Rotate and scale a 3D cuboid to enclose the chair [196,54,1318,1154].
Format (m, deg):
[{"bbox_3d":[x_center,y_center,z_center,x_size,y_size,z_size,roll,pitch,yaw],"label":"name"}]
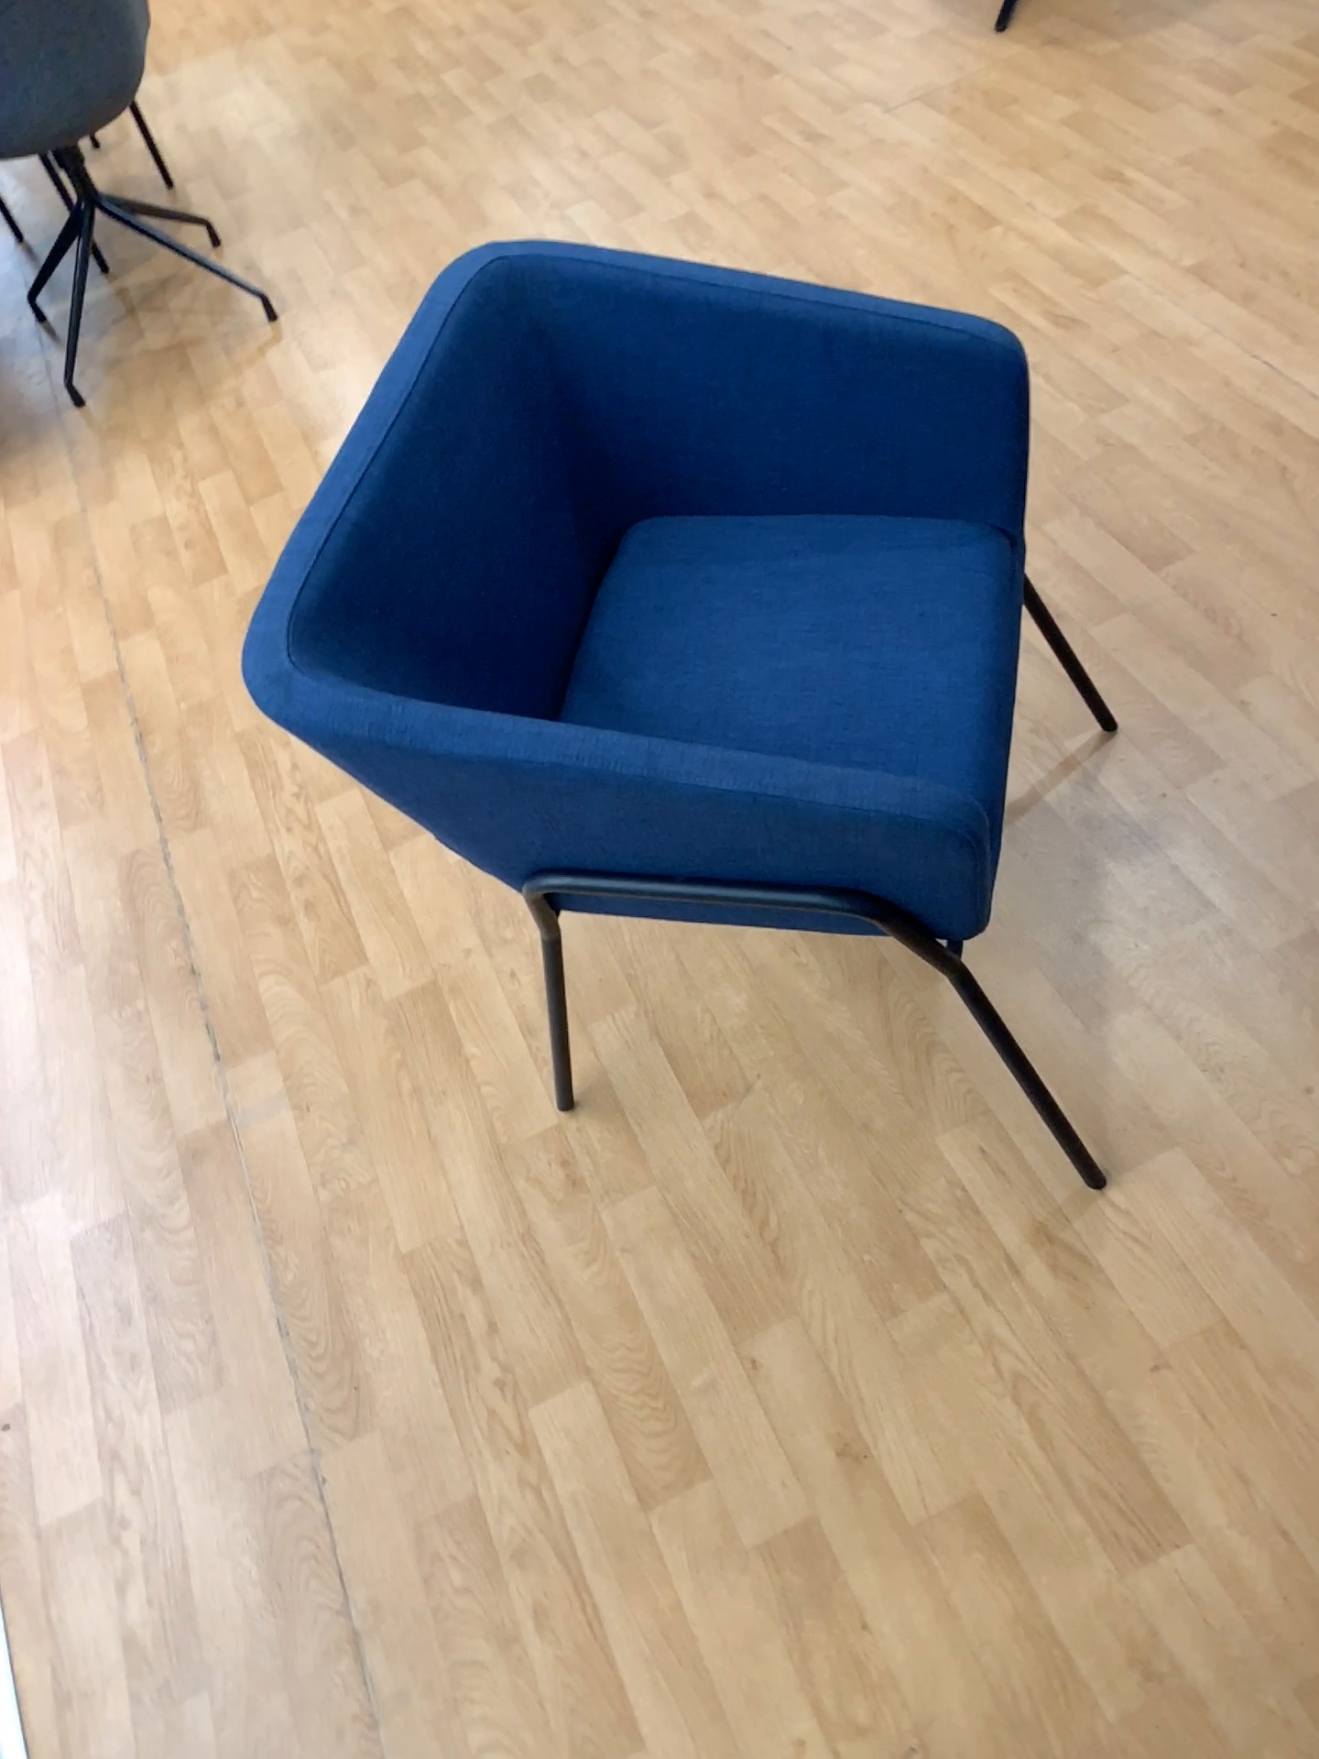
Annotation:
[{"bbox_3d":[0.167,-0.252,1.322,0.751,0.685,0.704,4,53,16],"label":"chair"}]
